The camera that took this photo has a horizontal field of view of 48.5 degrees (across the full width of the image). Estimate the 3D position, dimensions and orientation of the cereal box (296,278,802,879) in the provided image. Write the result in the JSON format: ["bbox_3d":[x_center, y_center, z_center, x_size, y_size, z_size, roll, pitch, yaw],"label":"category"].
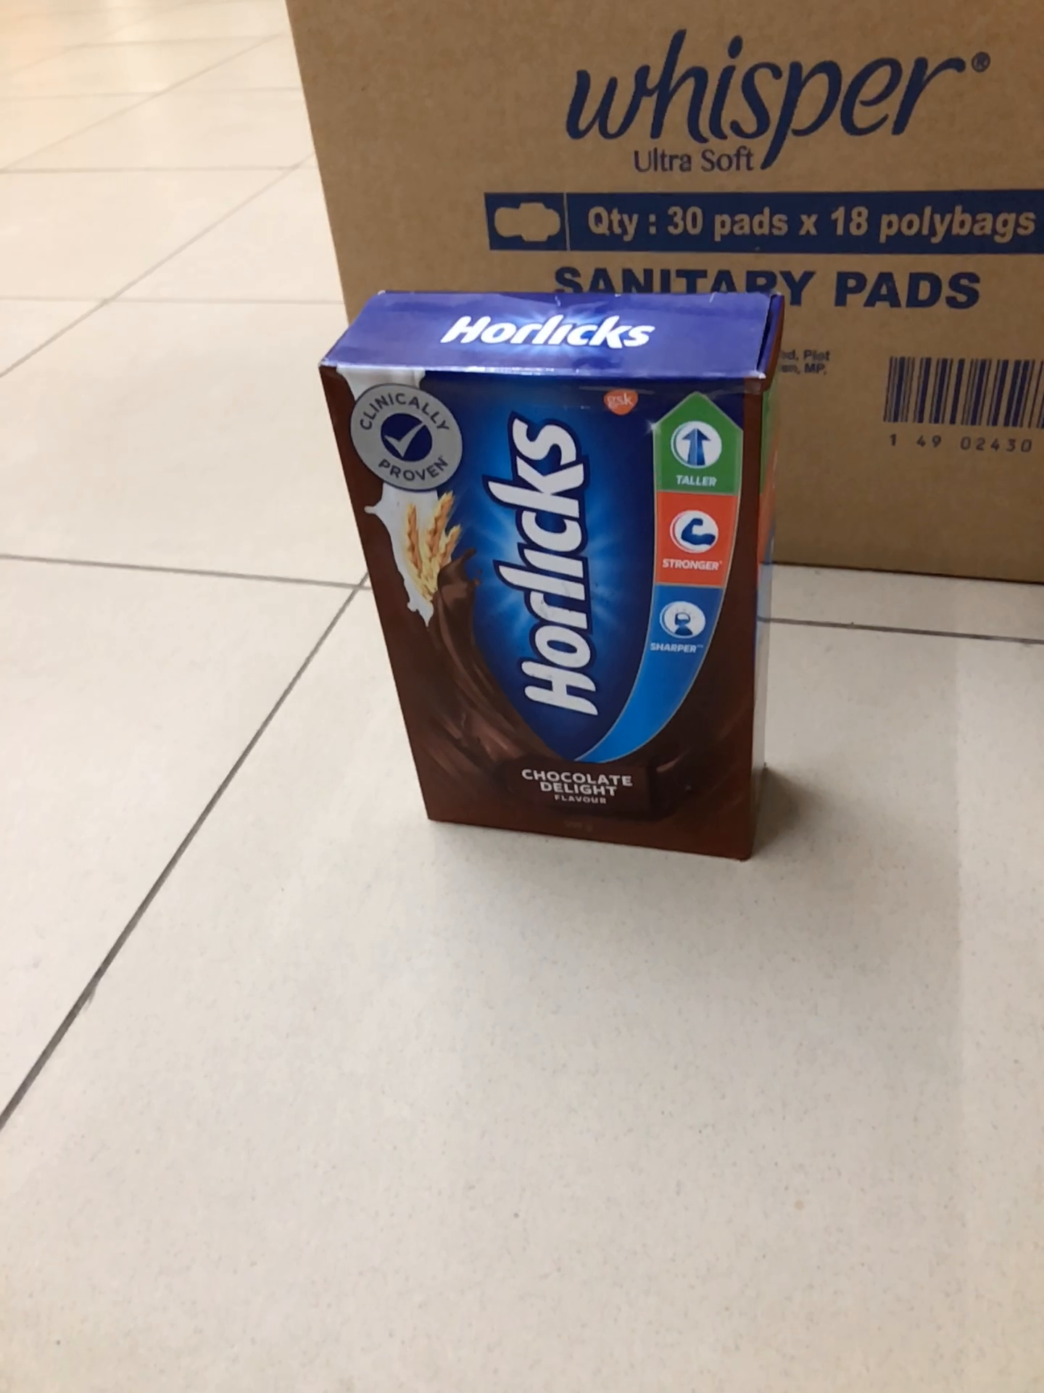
[{"bbox_3d":[0.019,-0.036,0.405,0.140,0.199,0.060,6,40,16],"label":"cereal box"}]
